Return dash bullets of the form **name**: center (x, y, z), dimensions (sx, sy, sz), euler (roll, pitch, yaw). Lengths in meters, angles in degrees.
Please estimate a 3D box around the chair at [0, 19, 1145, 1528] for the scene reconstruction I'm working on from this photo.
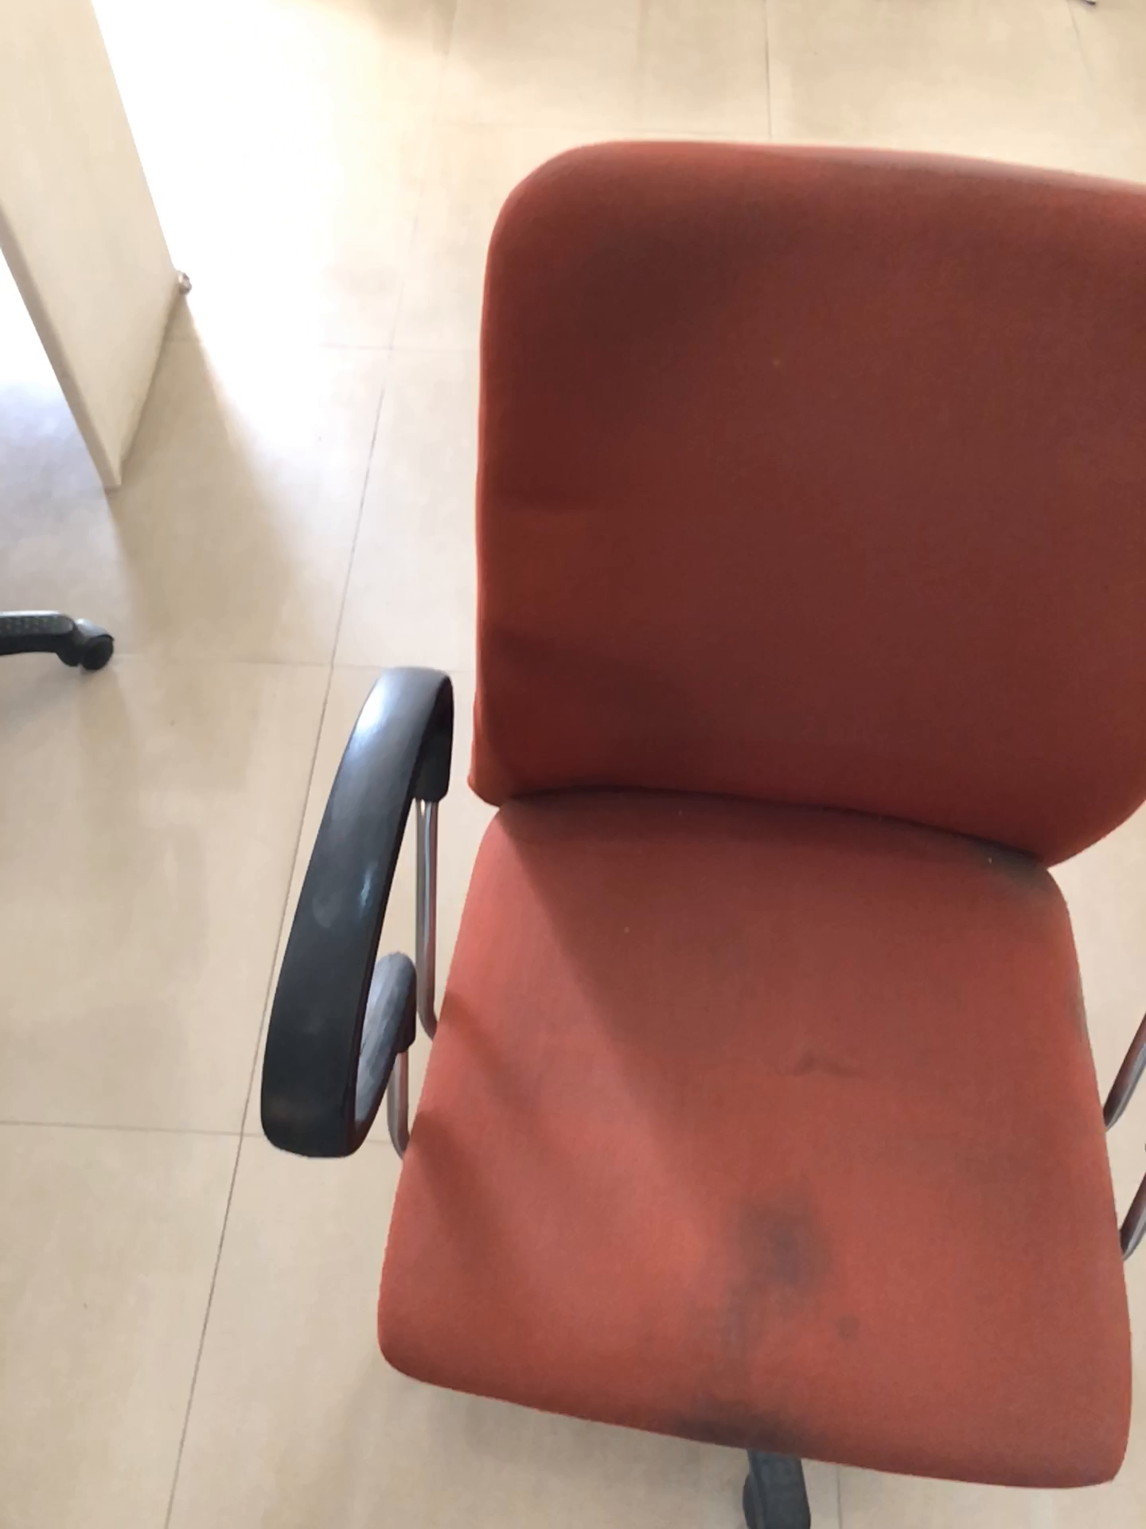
- **chair**: center (0.138, 0.184, 0.973), dimensions (0.770, 1.045, 0.704), euler (9, 59, 5)
